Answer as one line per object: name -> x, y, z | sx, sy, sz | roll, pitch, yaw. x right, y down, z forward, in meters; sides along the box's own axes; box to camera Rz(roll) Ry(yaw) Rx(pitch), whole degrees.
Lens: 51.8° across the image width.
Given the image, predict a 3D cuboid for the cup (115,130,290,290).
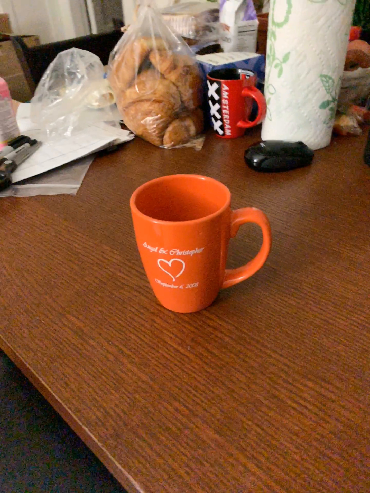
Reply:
cup -> 0.017, -0.035, 0.357 | 0.130, 0.109, 0.101 | -1, 36, 4
